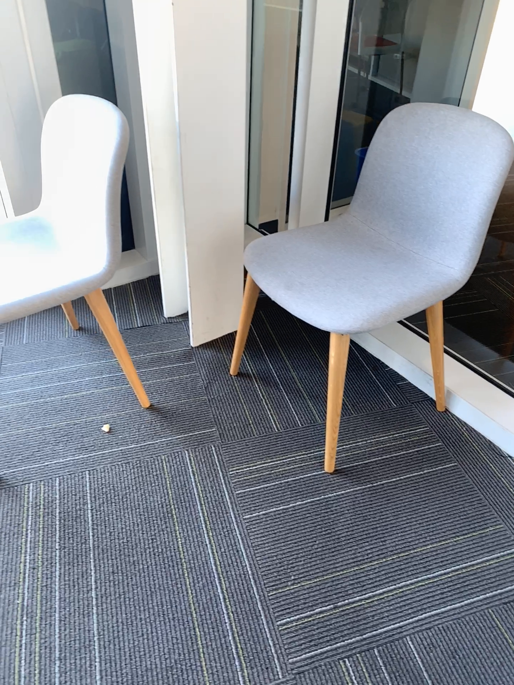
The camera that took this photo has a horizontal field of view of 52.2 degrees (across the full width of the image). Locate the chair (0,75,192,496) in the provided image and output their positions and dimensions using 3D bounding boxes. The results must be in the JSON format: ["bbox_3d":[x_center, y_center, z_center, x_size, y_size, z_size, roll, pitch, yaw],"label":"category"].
[{"bbox_3d":[-0.617,-0.201,1.356,0.601,0.726,0.653,-25,45,-31],"label":"chair"}]

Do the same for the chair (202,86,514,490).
[{"bbox_3d":[0.271,-0.181,1.355,0.591,0.726,0.563,-24,44,-30],"label":"chair"}]
